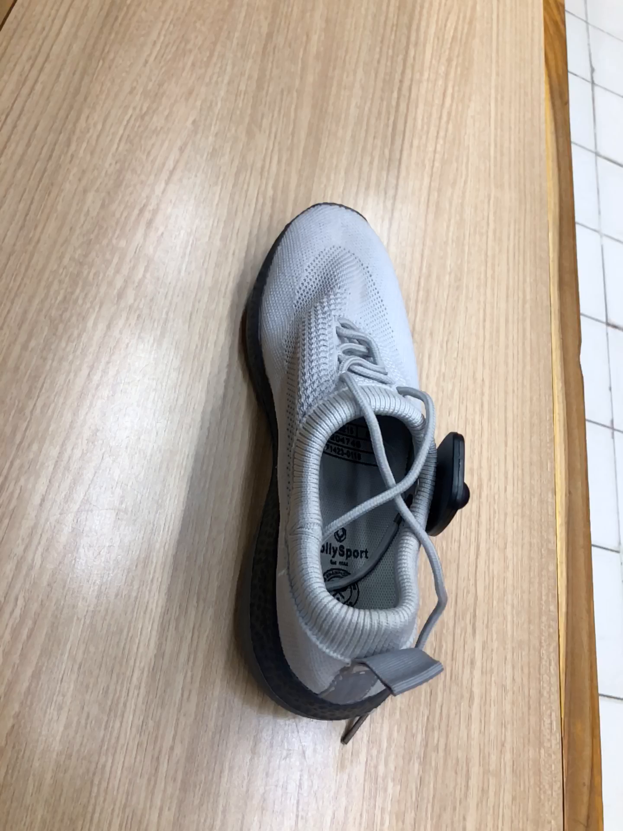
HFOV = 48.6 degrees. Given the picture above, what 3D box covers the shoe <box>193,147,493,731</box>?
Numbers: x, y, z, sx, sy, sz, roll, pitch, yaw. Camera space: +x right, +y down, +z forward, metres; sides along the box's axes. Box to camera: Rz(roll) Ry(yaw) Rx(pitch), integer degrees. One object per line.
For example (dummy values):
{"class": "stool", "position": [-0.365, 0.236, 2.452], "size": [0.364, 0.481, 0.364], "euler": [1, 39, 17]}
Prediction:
{"class": "shoe", "position": [0.014, 0.012, 0.358], "size": [0.100, 0.099, 0.271], "euler": [11, 64, -18]}
